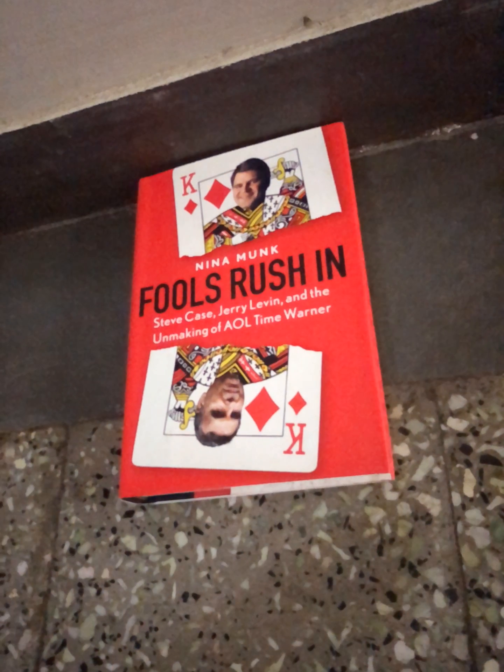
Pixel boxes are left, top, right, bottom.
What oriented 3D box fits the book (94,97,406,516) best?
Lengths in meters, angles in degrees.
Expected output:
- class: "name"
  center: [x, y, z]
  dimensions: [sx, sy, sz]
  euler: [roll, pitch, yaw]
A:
- class: "book"
  center: [-0.011, -0.028, 0.384]
  dimensions: [0.180, 0.030, 0.270]
  euler: [-11, 63, 16]
